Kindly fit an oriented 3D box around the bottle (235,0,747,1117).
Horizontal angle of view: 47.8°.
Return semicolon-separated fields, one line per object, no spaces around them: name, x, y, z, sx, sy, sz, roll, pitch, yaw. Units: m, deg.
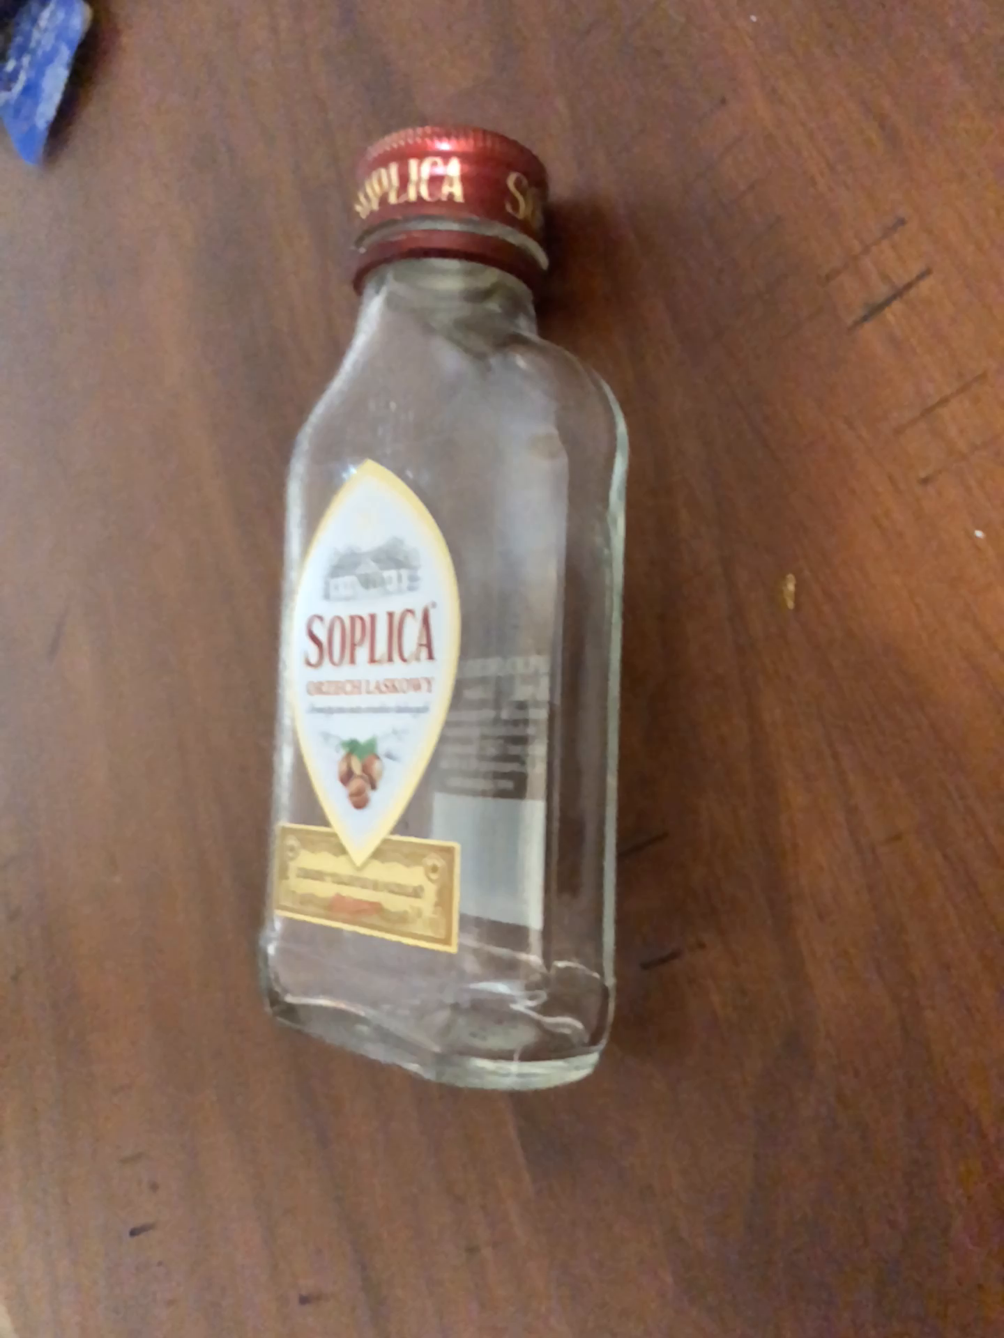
bottle;-0.003;-0.021;0.171;0.070;0.030;0.150;-3;82;45
